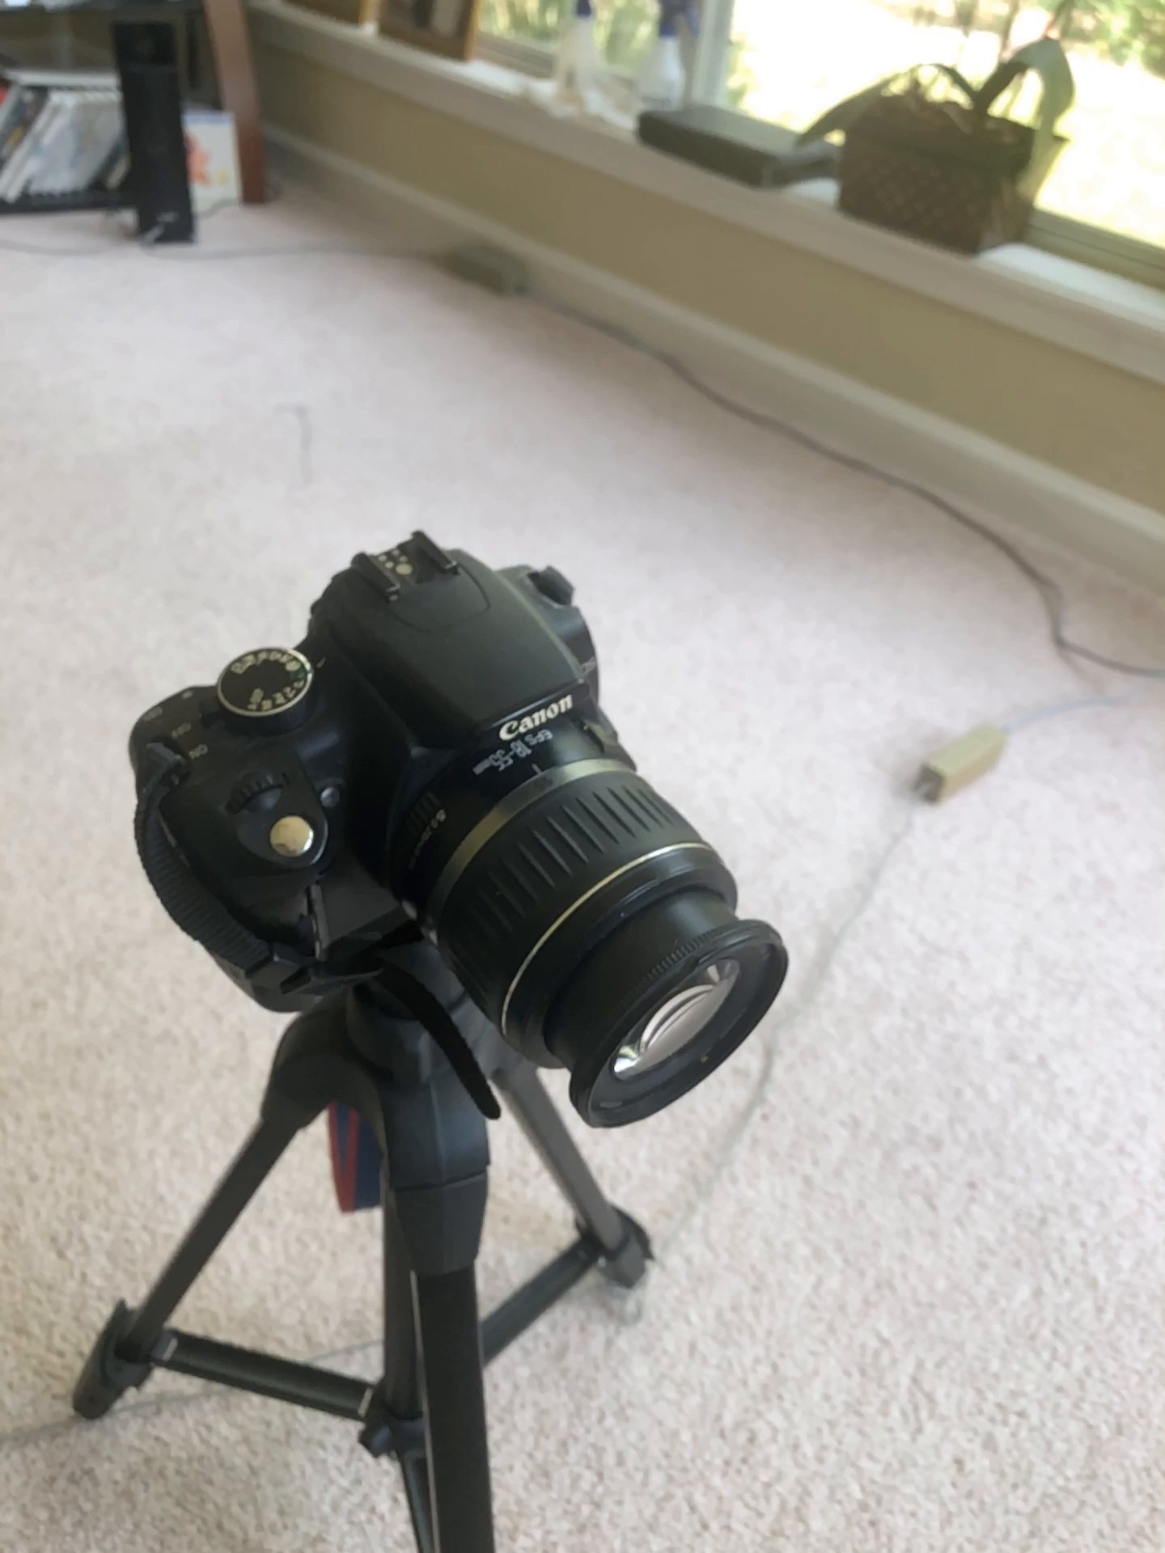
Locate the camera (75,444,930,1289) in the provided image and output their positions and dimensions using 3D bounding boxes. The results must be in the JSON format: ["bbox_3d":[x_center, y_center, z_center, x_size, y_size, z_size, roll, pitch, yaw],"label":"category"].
[{"bbox_3d":[-0.022,0.013,0.323,0.130,0.093,0.142,-30,57,-27],"label":"camera"}]
